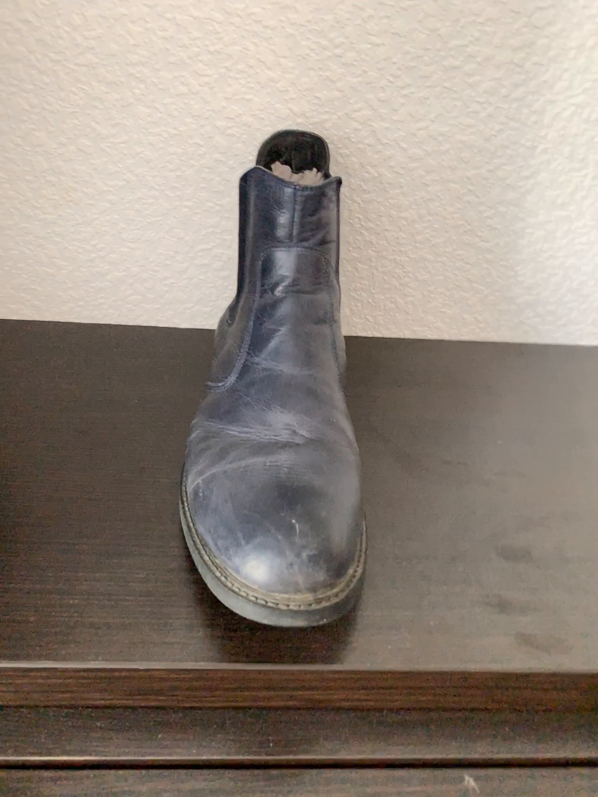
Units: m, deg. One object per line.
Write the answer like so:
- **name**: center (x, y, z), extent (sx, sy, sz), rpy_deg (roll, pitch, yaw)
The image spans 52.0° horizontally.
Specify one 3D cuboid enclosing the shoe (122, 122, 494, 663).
- **shoe**: center (-0.004, -0.037, 0.349), extent (0.110, 0.159, 0.302), rpy_deg (3, 35, -3)
